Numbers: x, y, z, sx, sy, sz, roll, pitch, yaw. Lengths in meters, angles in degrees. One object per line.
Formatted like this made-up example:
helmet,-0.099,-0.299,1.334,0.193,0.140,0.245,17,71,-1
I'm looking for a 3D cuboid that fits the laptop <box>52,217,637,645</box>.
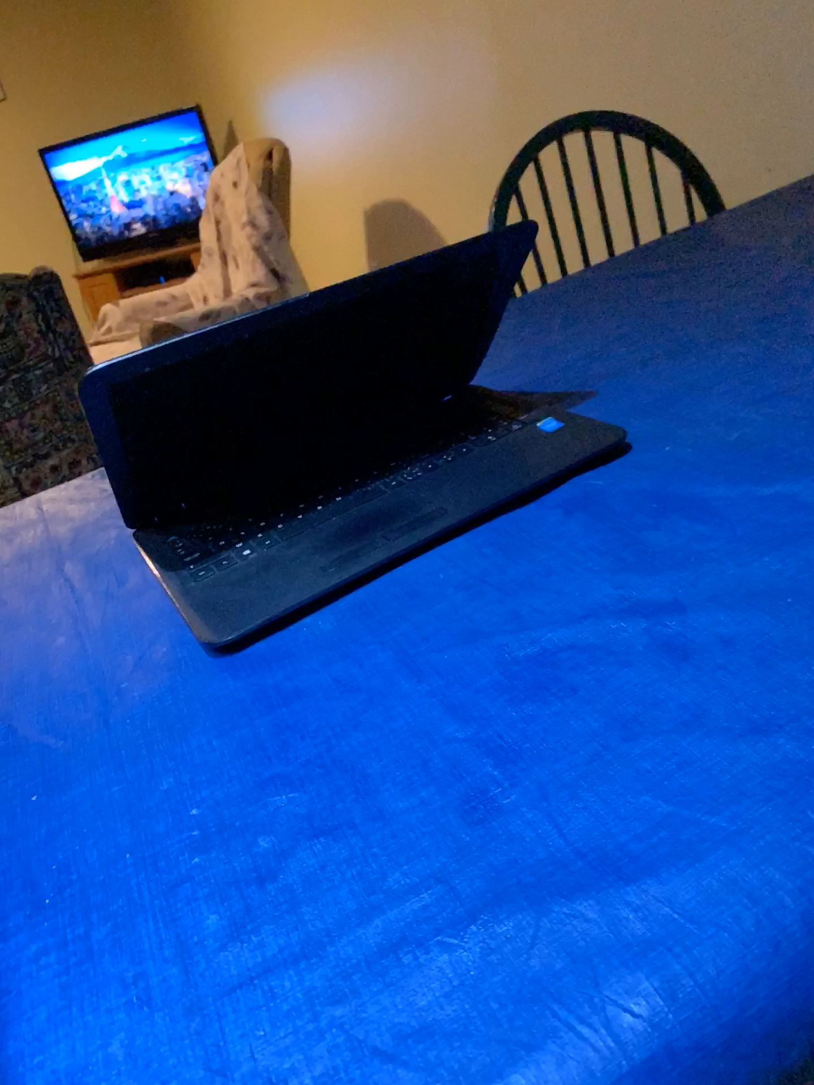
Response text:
laptop,-0.054,-0.122,0.678,0.371,0.167,0.253,-26,29,-19
